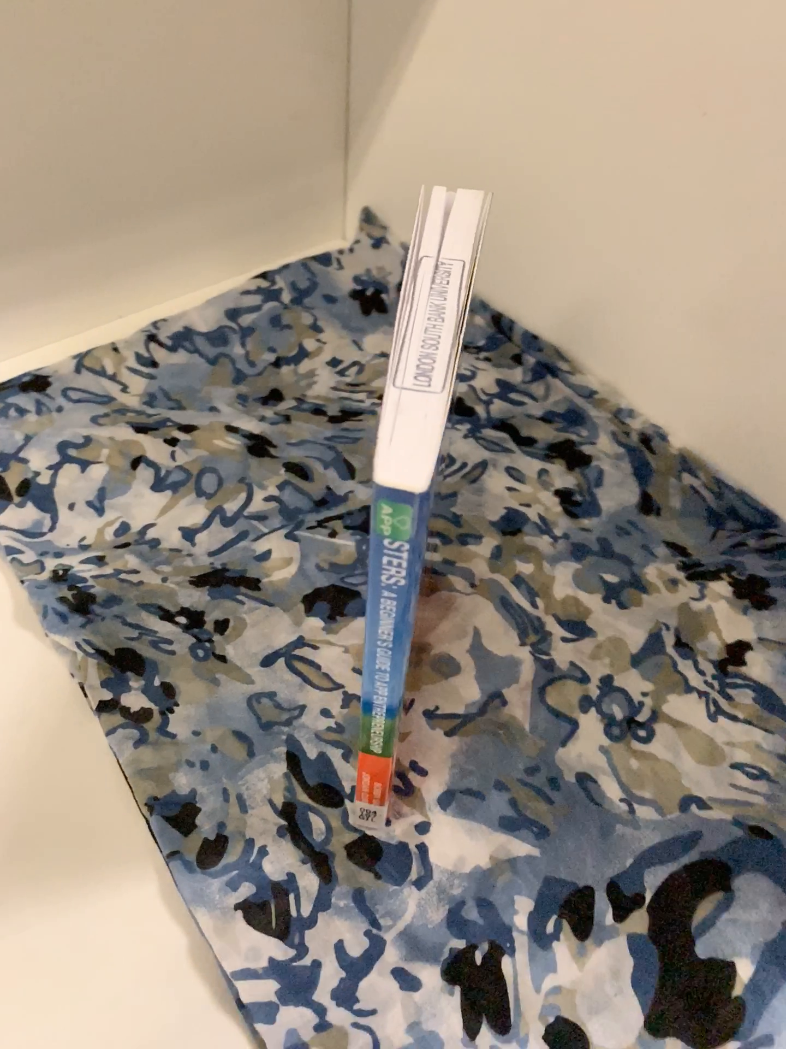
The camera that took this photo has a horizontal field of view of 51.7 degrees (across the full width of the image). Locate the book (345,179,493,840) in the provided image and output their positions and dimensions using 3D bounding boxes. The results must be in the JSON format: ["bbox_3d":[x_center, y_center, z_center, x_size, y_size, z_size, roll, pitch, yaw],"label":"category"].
[{"bbox_3d":[0.007,0.007,0.297,0.024,0.203,0.141,8,49,3],"label":"book"}]
